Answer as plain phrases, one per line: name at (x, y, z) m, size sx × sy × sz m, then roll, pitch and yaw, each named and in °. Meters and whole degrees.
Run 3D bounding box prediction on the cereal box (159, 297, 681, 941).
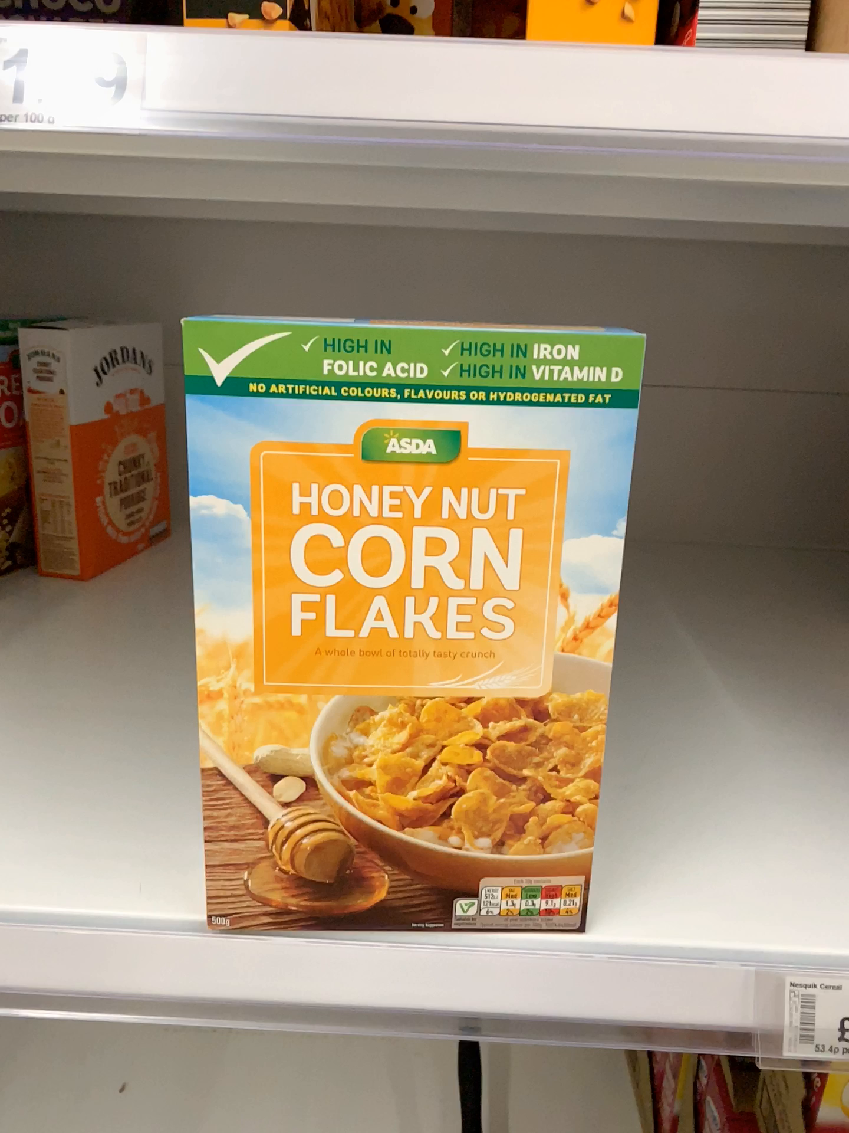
cereal box at (-0.007, 0.029, 0.411) m, size 0.200 × 0.288 × 0.070 m, roll 2°, pitch 17°, yaw -2°
